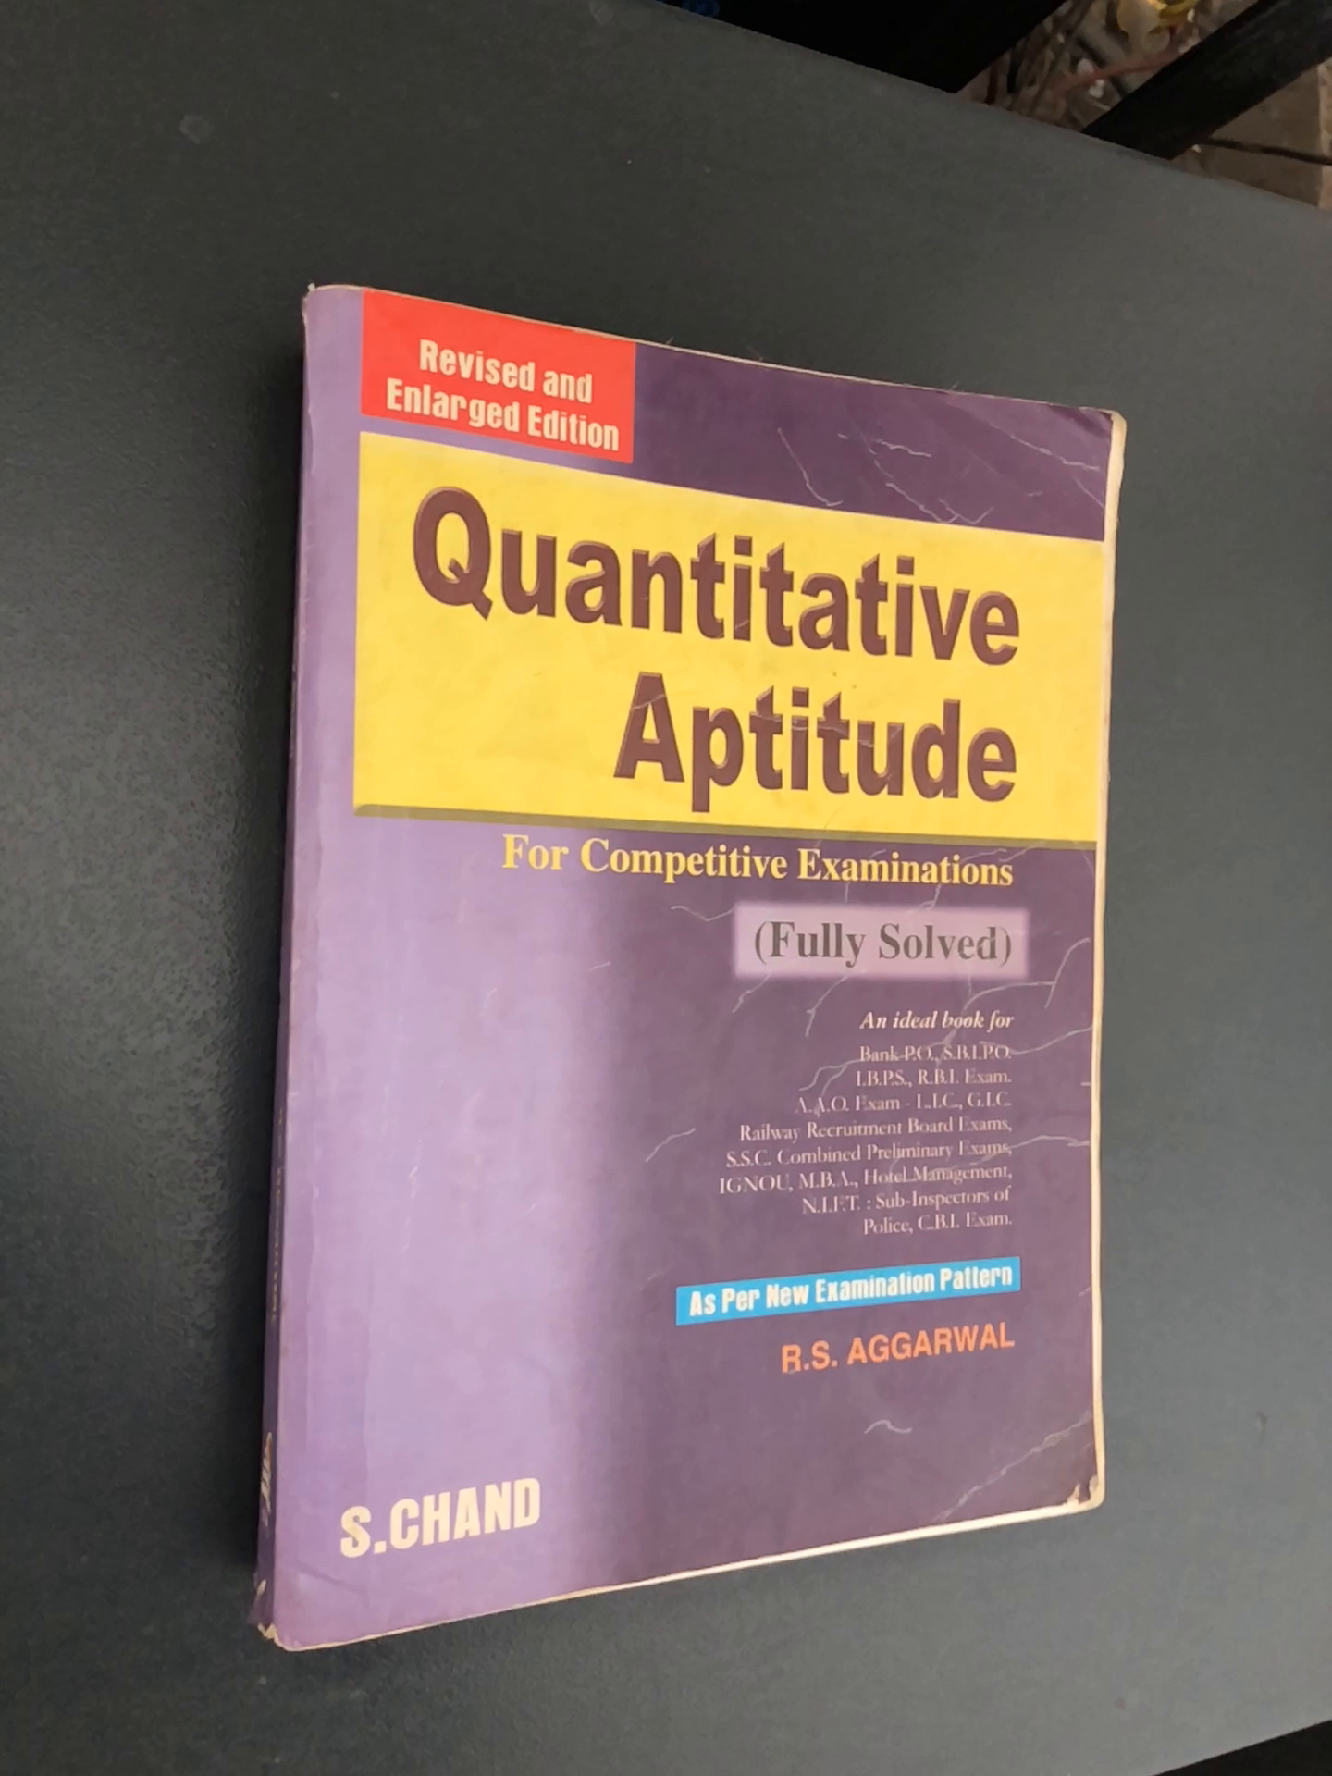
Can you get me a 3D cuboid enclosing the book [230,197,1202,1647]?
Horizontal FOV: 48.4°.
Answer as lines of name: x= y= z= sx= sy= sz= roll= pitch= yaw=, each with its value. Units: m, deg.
book: x=0.016 y=0.007 z=0.285 sx=0.180 sy=0.050 sz=0.220 roll=2 pitch=87 yaw=-25
